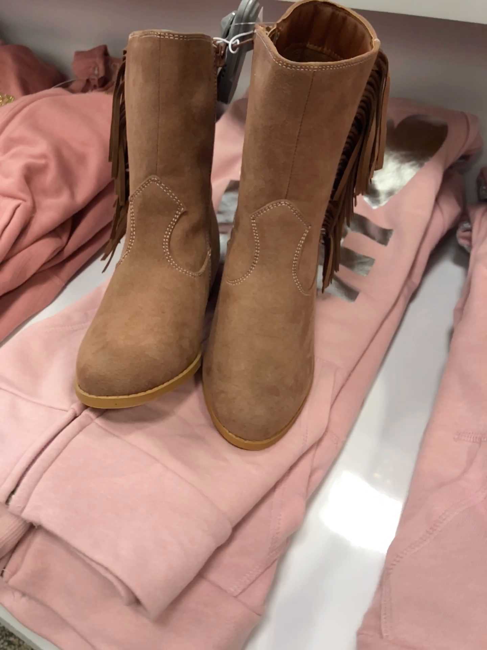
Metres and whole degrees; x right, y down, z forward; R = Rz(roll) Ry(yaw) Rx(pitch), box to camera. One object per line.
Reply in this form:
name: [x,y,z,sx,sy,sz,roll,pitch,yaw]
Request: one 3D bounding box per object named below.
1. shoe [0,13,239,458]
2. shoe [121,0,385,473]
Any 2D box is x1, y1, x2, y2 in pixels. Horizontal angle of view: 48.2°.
shoe: [-0.063,-0.067,0.338,0.092,0.199,0.201,4,36,6]
shoe: [0.018,-0.061,0.333,0.092,0.199,0.211,4,42,6]
